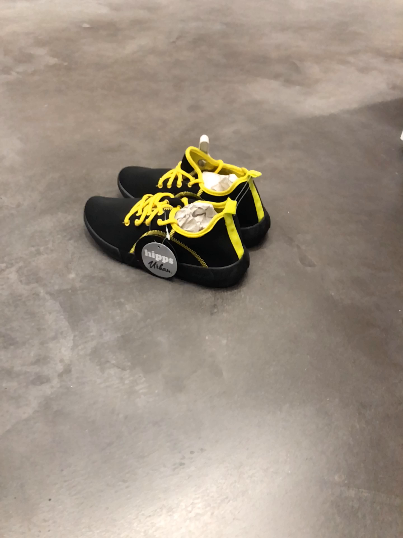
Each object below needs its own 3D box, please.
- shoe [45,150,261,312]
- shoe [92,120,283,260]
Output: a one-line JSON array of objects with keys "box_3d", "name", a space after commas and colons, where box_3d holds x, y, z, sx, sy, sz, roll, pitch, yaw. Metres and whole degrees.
[{"box_3d": [-0.057, -0.051, 0.541, 0.230, 0.099, 0.091, 20, 47, 18], "name": "shoe"}, {"box_3d": [-0.020, -0.112, 0.607, 0.230, 0.099, 0.091, 20, 47, 18], "name": "shoe"}]
